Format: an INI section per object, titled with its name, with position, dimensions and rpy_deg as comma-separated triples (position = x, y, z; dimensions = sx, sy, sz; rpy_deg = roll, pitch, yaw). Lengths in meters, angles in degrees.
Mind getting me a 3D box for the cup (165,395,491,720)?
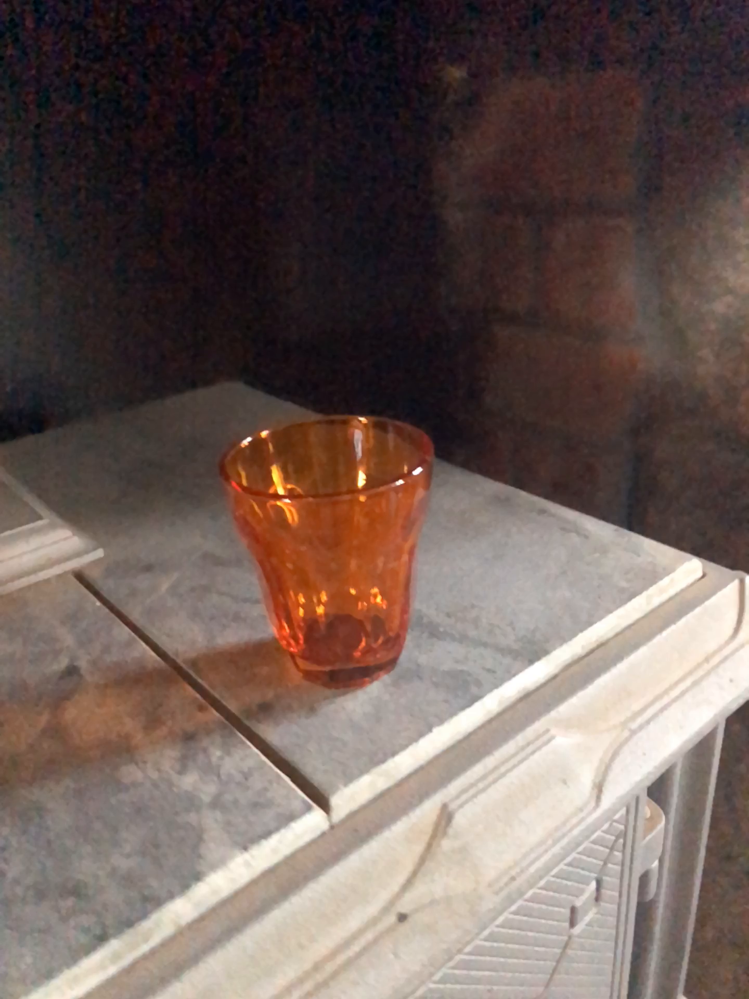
[cup]
position = -0.015, 0.014, 0.302
dimensions = 0.080, 0.070, 0.080
rpy_deg = -3, 25, 2
